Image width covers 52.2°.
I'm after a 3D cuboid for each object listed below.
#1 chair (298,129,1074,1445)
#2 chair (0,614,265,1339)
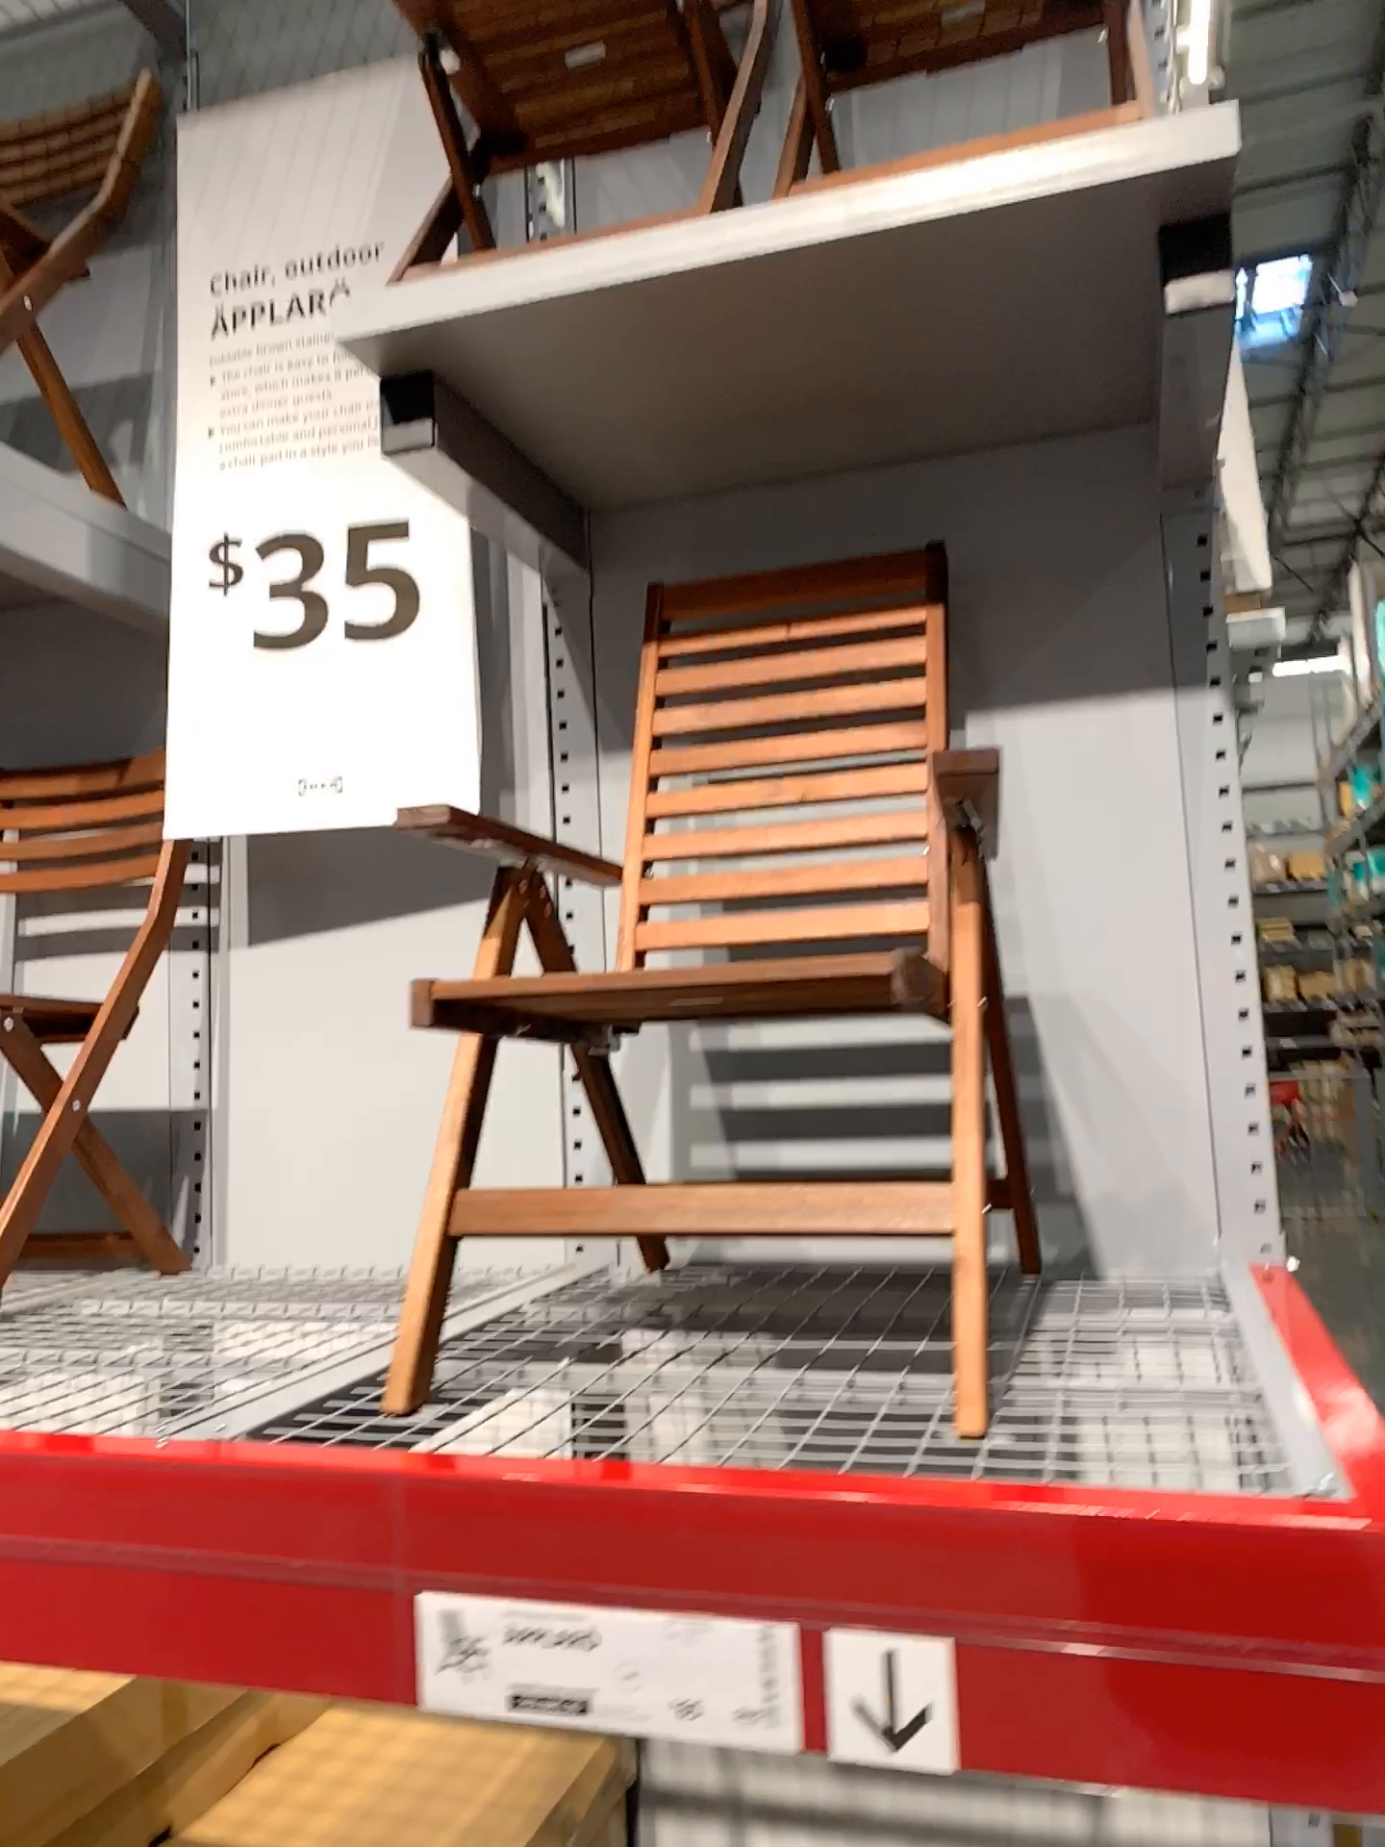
[{"bbox_3d":[0.070,-0.078,1.626,0.615,1.056,0.890,-4,-6,16],"label":"chair"},{"bbox_3d":[-1.092,0.098,2.108,0.615,0.885,0.630,-4,-6,16],"label":"chair"}]
